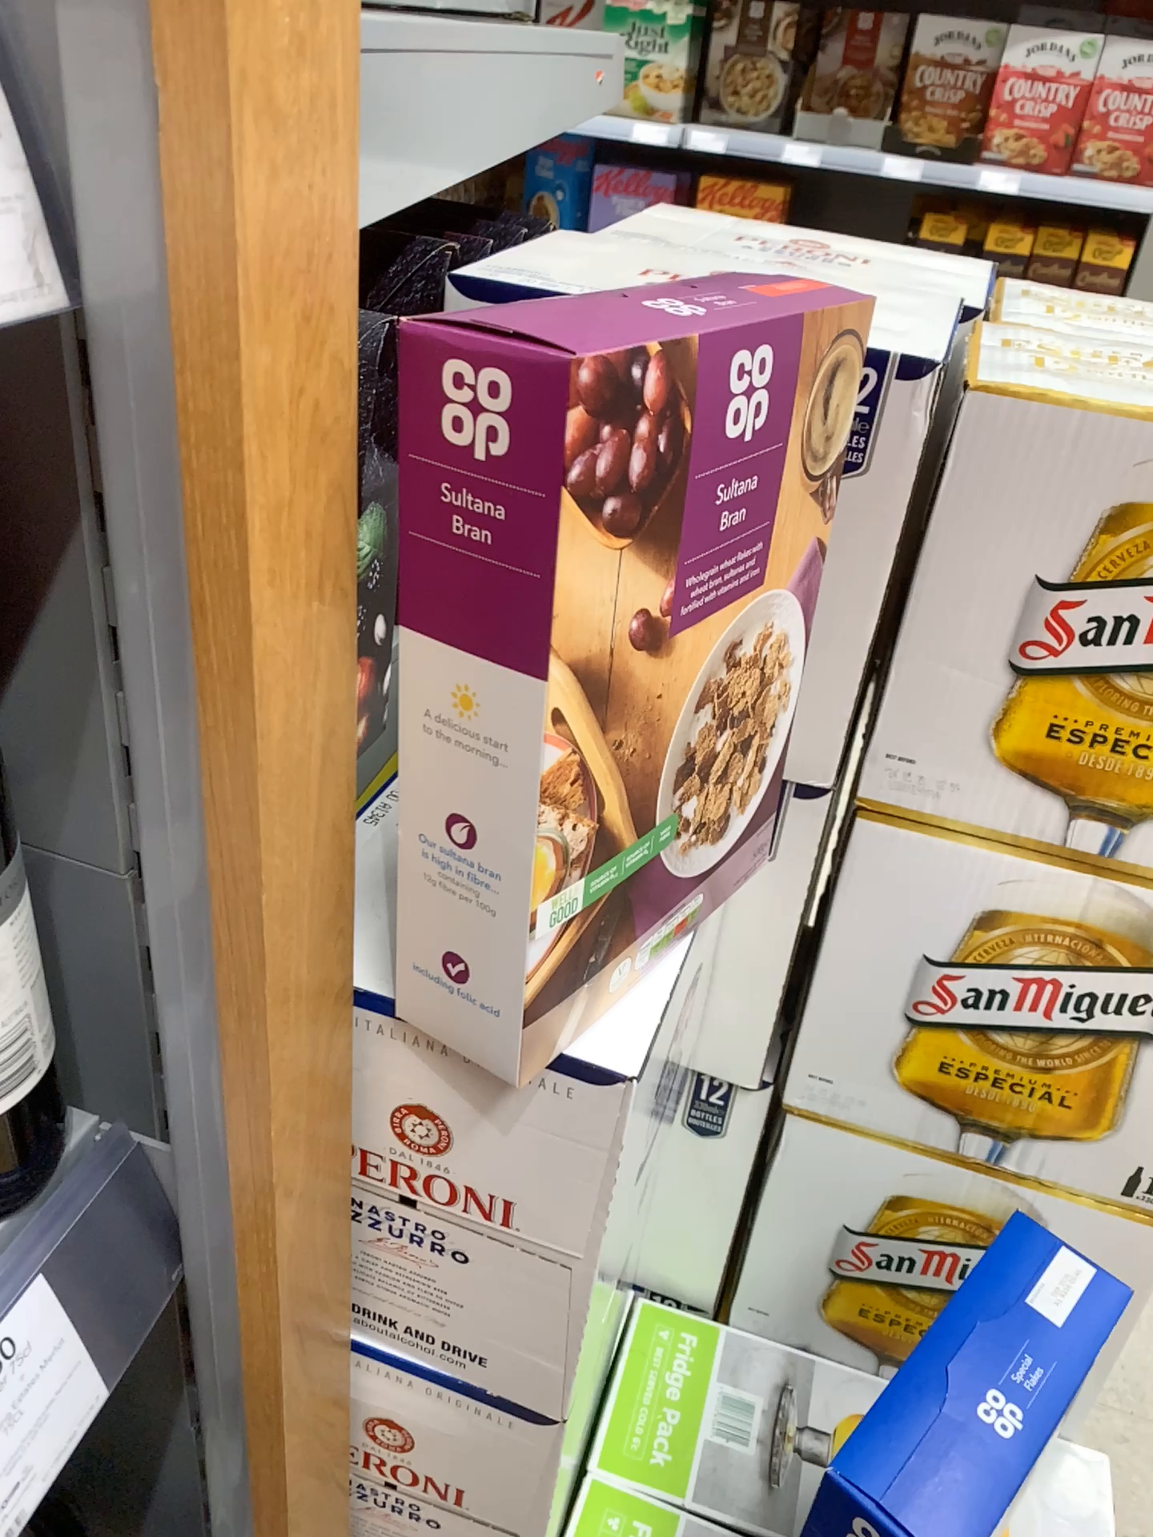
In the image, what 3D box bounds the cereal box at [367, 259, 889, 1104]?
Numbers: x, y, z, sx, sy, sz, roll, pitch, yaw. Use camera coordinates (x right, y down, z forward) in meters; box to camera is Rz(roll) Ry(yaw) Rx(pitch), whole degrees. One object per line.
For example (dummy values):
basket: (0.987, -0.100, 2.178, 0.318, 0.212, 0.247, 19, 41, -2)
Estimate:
cereal box: (0.017, -0.041, 0.447, 0.070, 0.257, 0.201, 24, 35, 27)
